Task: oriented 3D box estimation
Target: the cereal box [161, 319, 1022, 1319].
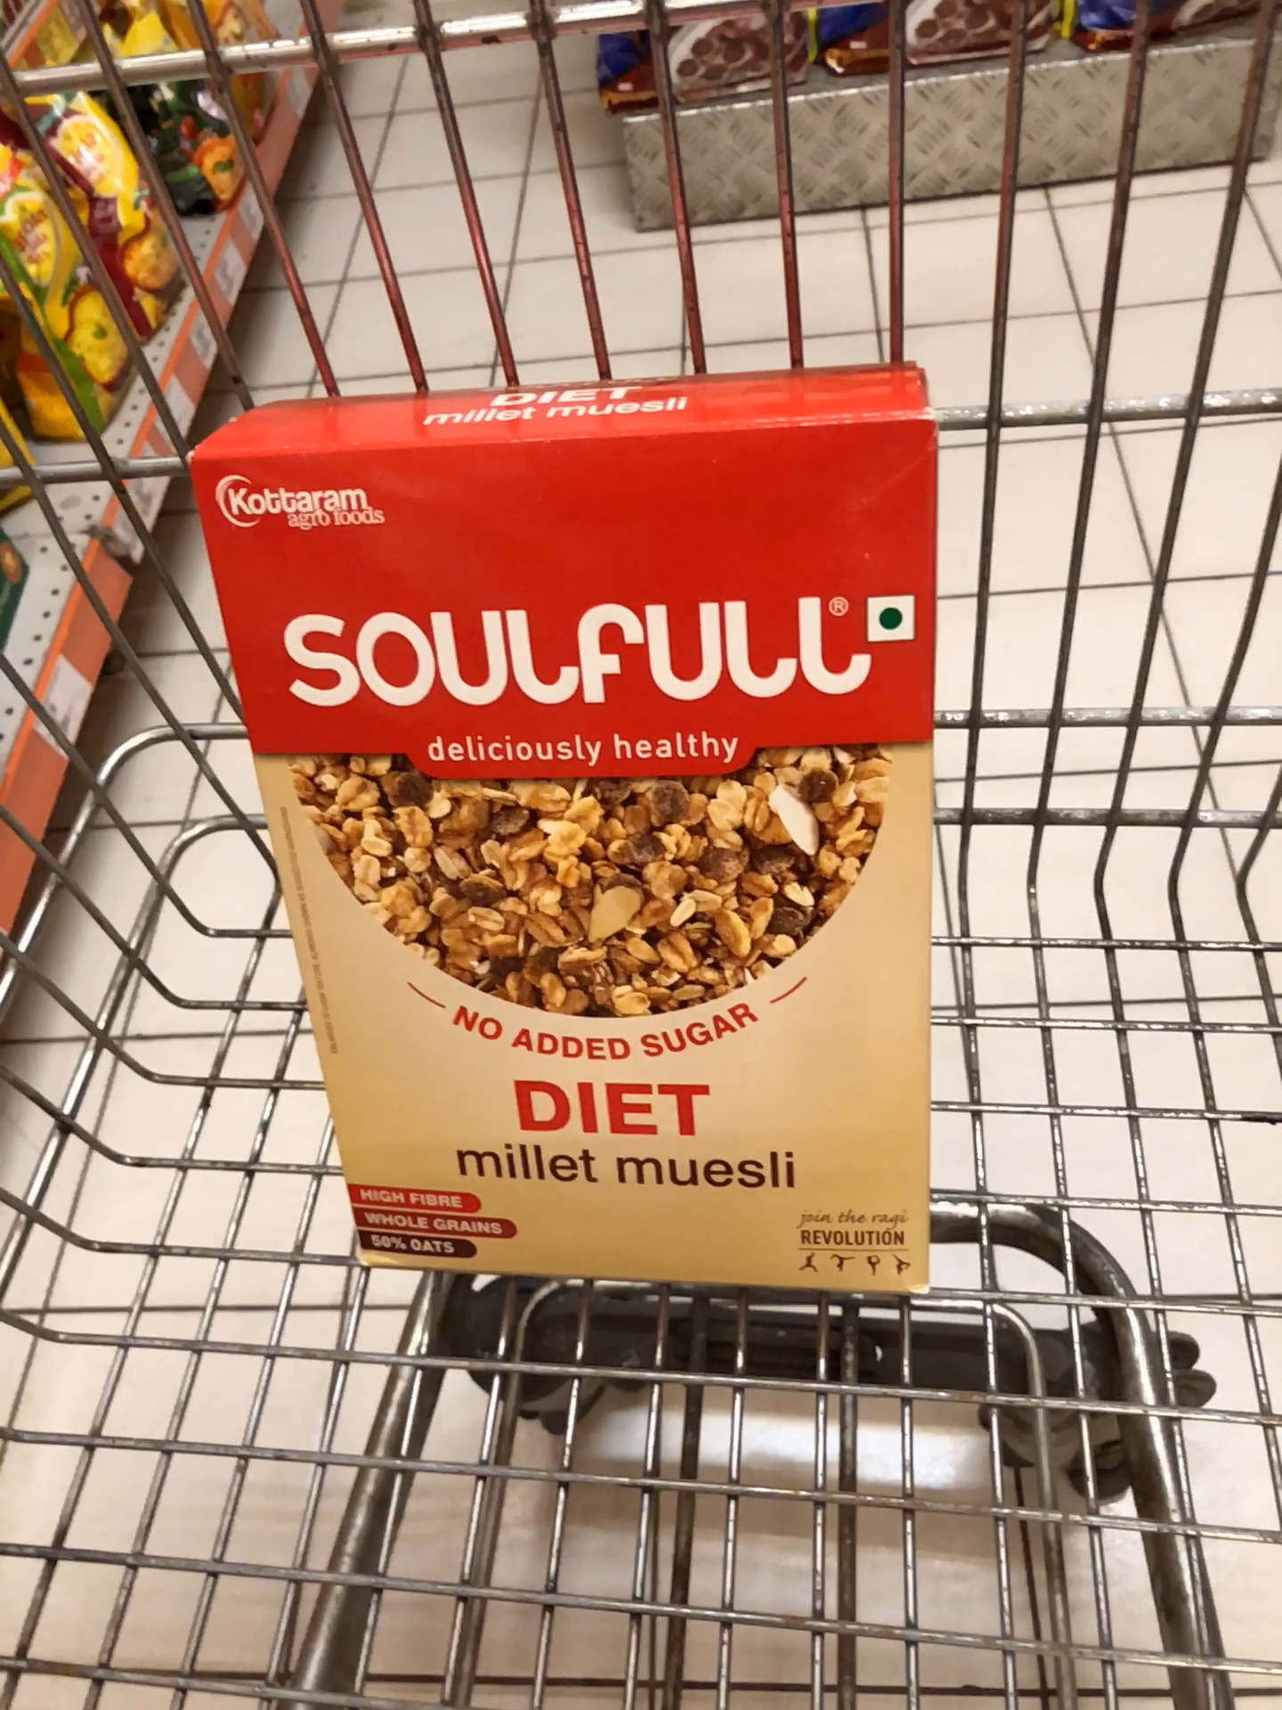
[{"bbox_3d":[-0.001,0.005,0.358,0.170,0.249,0.050,1,31,10],"label":"cereal box"}]
